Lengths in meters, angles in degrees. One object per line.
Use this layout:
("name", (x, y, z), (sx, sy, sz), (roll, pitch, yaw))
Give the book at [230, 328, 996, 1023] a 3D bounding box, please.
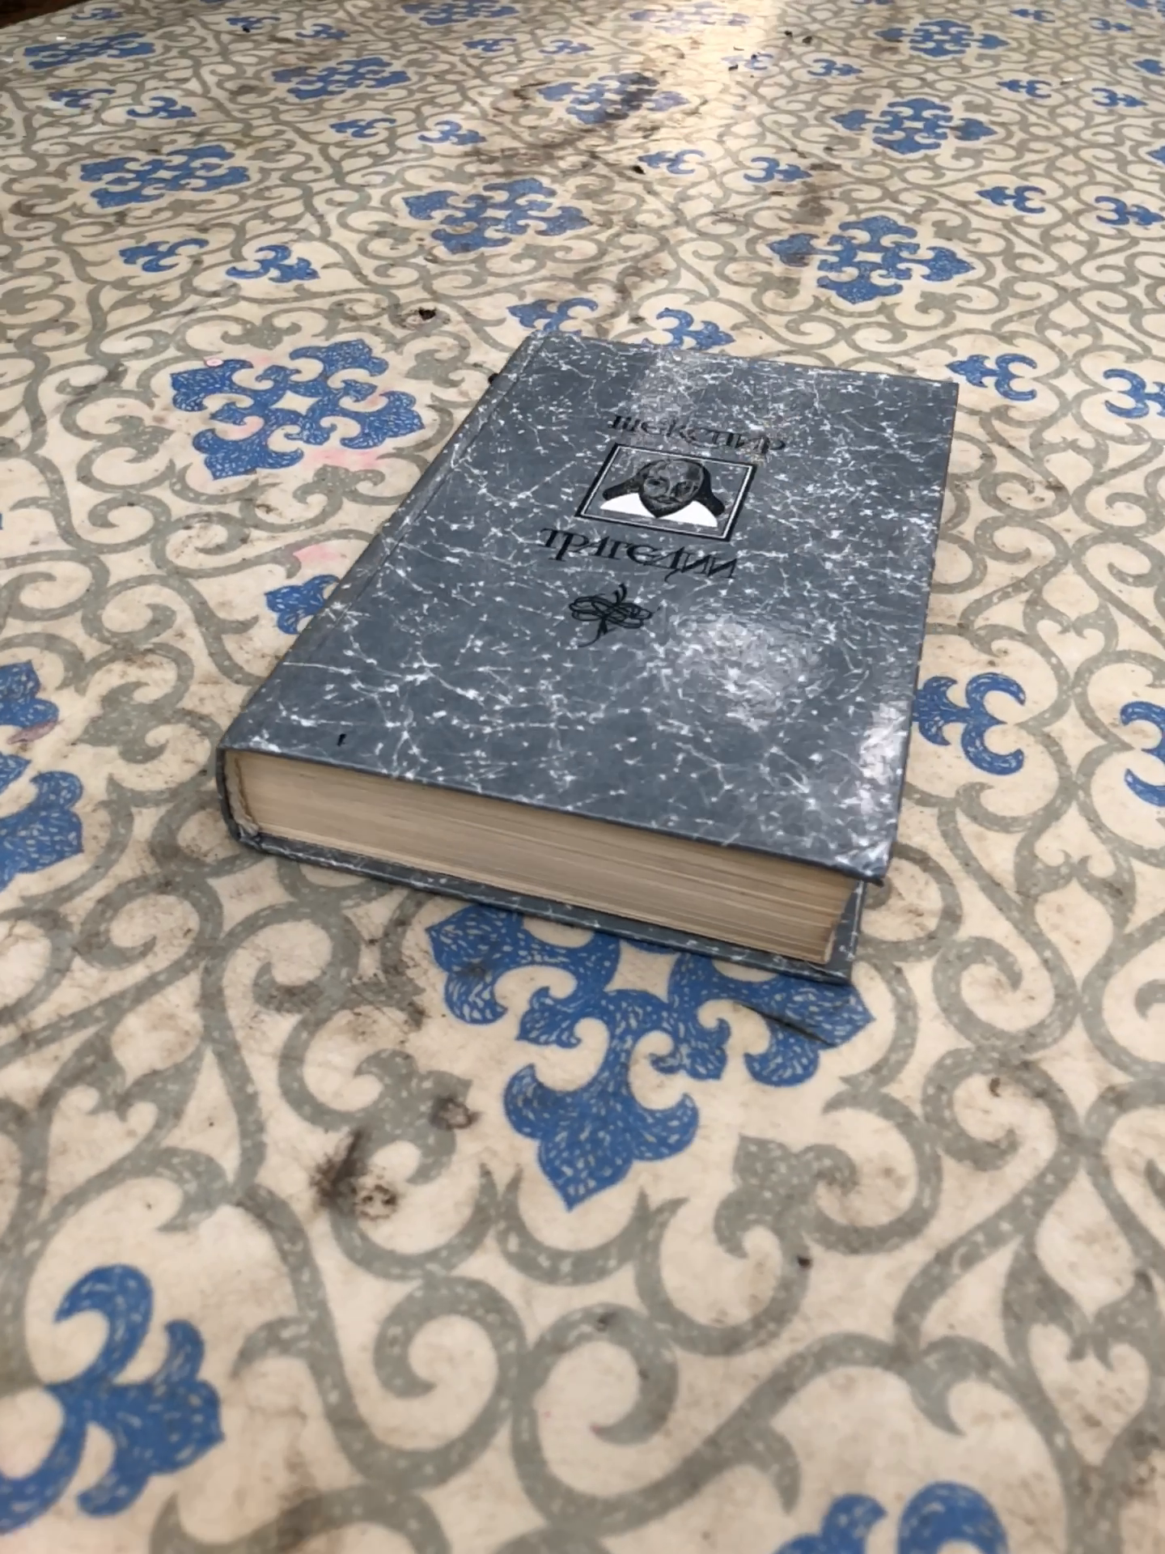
("book", (0.025, -0.046, 0.321), (0.134, 0.033, 0.208), (11, 44, 12))
